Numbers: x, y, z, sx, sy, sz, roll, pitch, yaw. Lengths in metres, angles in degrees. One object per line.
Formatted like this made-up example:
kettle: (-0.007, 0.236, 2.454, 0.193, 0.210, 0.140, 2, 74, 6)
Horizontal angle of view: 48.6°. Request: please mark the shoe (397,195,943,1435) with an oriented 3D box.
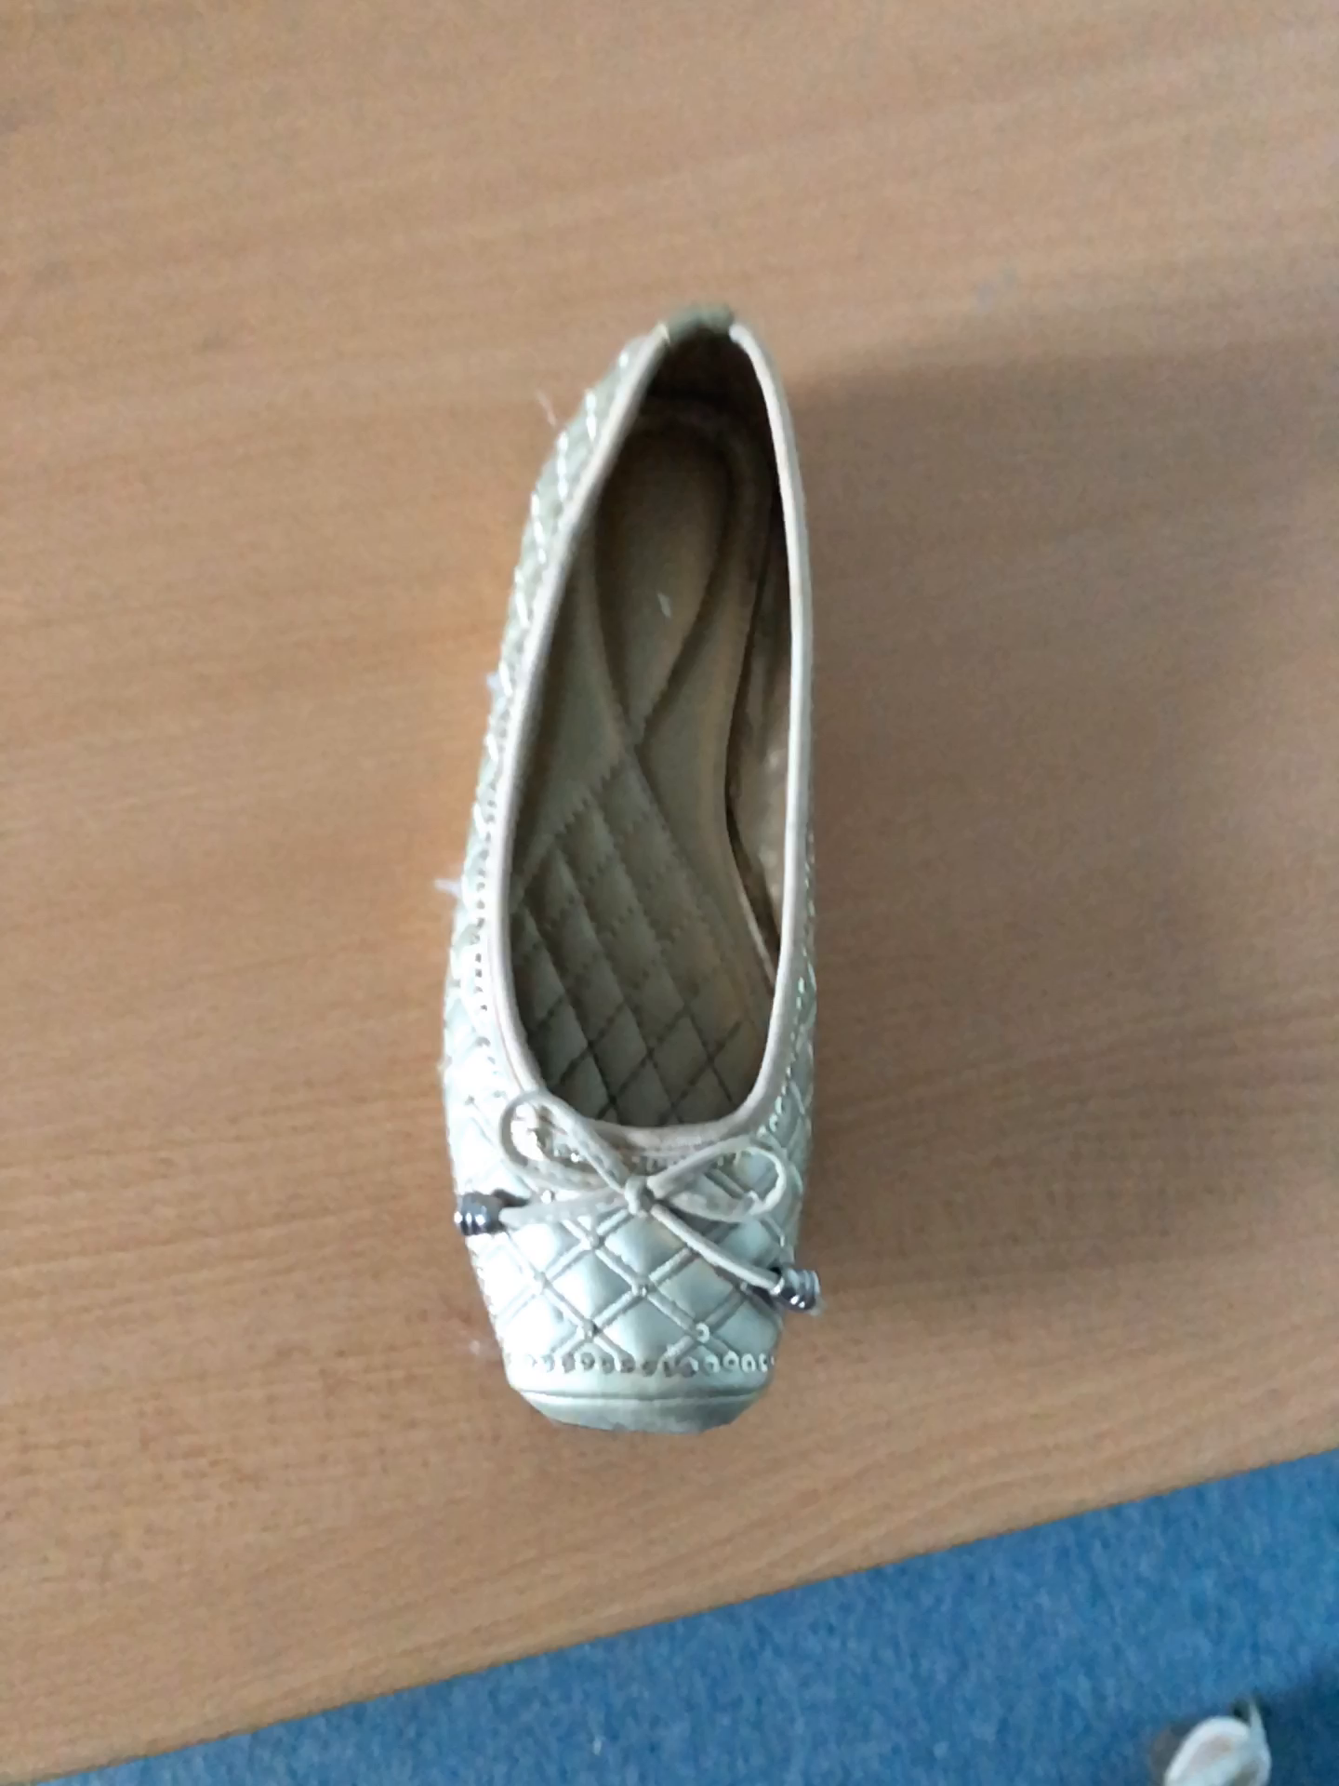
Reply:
shoe: (-0.001, -0.019, 0.340, 0.100, 0.080, 0.260, 1, 76, -3)
